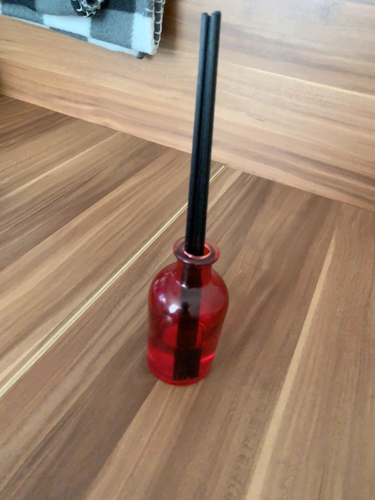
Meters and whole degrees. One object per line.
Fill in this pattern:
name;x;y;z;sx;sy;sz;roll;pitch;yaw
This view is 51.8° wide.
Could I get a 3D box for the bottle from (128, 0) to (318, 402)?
bottle;0.005;-0.007;0.233;0.060;0.239;0.050;25;42;20
